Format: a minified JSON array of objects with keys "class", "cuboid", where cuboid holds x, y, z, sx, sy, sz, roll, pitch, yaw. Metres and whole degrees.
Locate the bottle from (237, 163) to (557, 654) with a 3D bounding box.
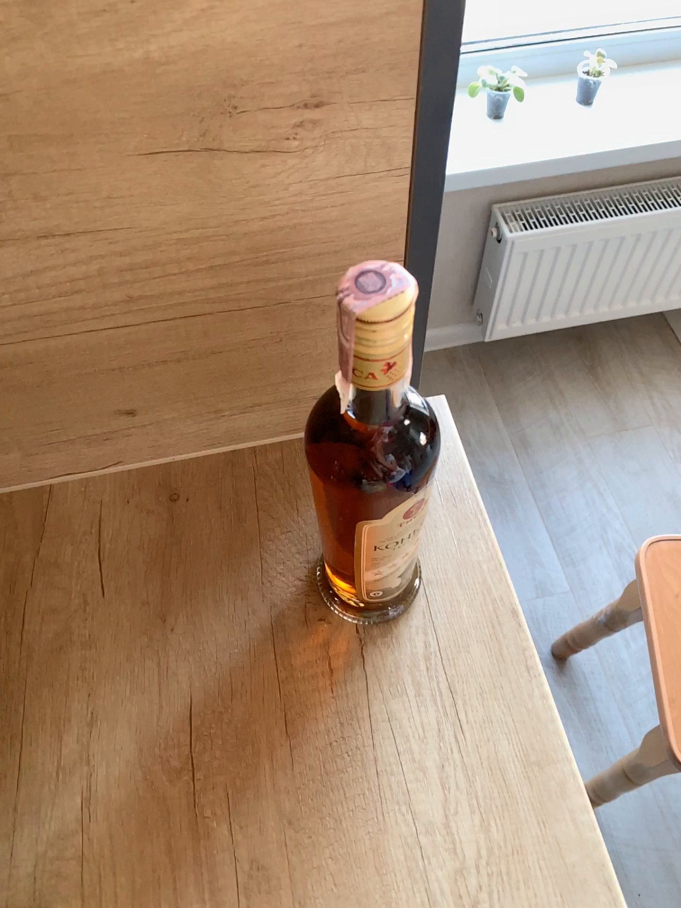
[{"class":"bottle","cuboid":[0.021,0.010,0.351,0.080,0.279,0.070,-35,64,-18]}]
